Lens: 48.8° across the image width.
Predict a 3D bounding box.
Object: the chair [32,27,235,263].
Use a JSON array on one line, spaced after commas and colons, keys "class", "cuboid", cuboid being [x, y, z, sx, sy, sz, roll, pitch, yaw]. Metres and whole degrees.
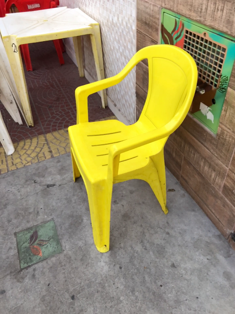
[{"class": "chair", "cuboid": [0.013, -0.074, 1.193, 0.541, 0.744, 0.644, -15, 43, -12]}]
